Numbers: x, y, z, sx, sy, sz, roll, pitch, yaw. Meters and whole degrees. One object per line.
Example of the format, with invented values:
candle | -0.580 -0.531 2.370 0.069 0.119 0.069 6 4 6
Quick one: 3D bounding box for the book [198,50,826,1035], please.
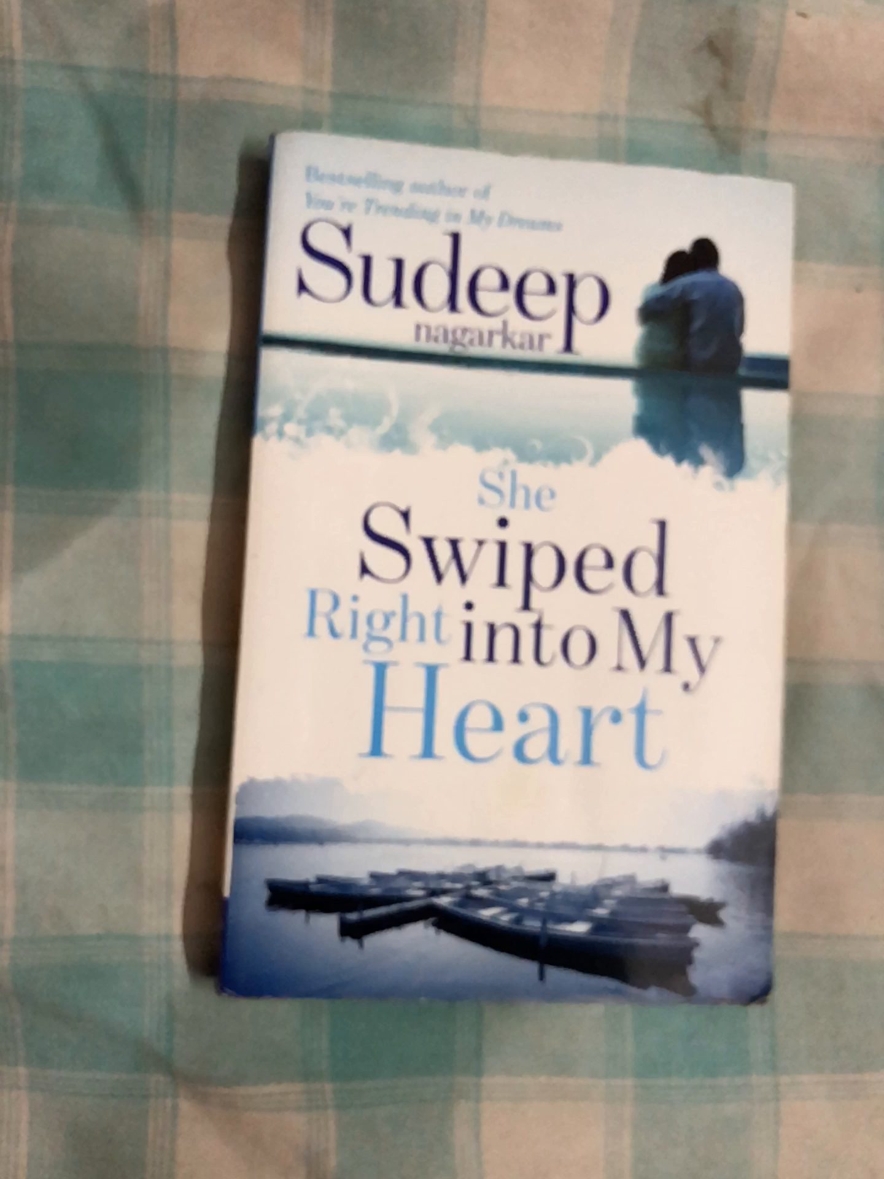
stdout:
book | 0.017 -0.009 0.236 0.130 0.030 0.210 3 88 -6
